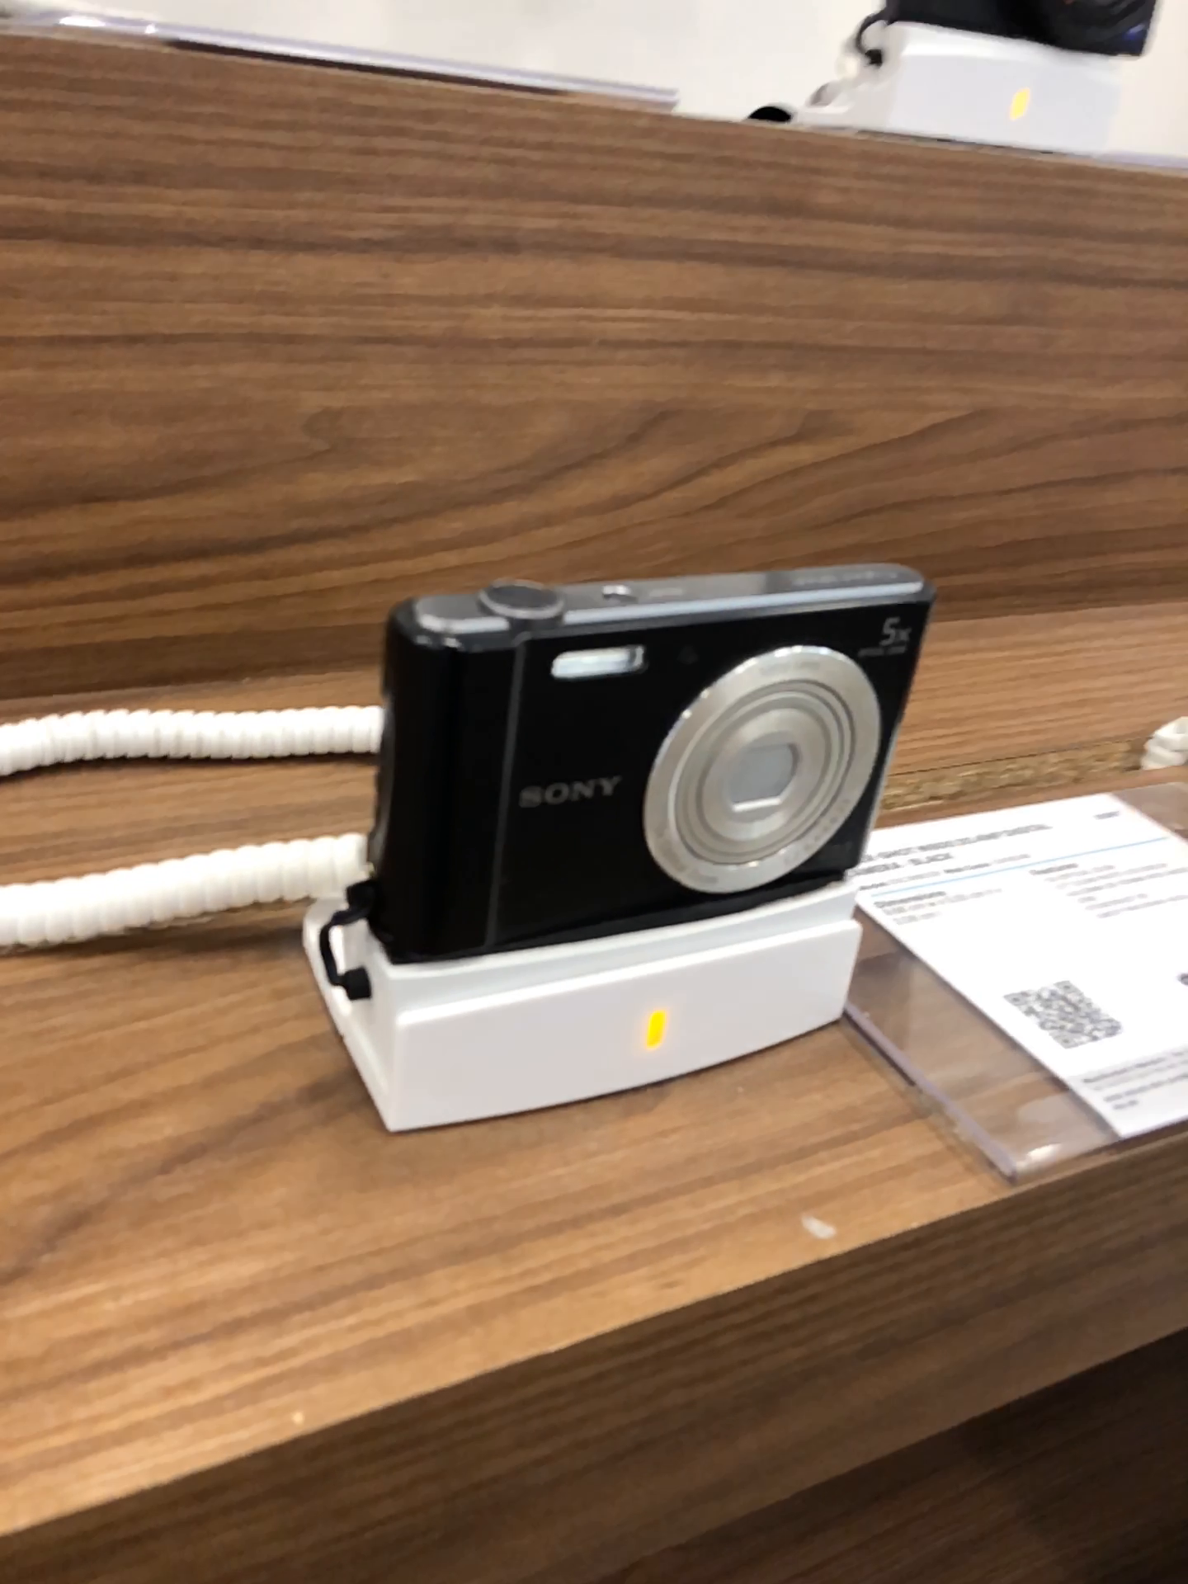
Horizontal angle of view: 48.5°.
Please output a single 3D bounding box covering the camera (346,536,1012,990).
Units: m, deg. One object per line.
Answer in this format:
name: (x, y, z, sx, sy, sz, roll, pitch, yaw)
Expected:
camera: (0.013, -0.007, 0.210, 0.100, 0.060, 0.020, -8, 36, -26)
